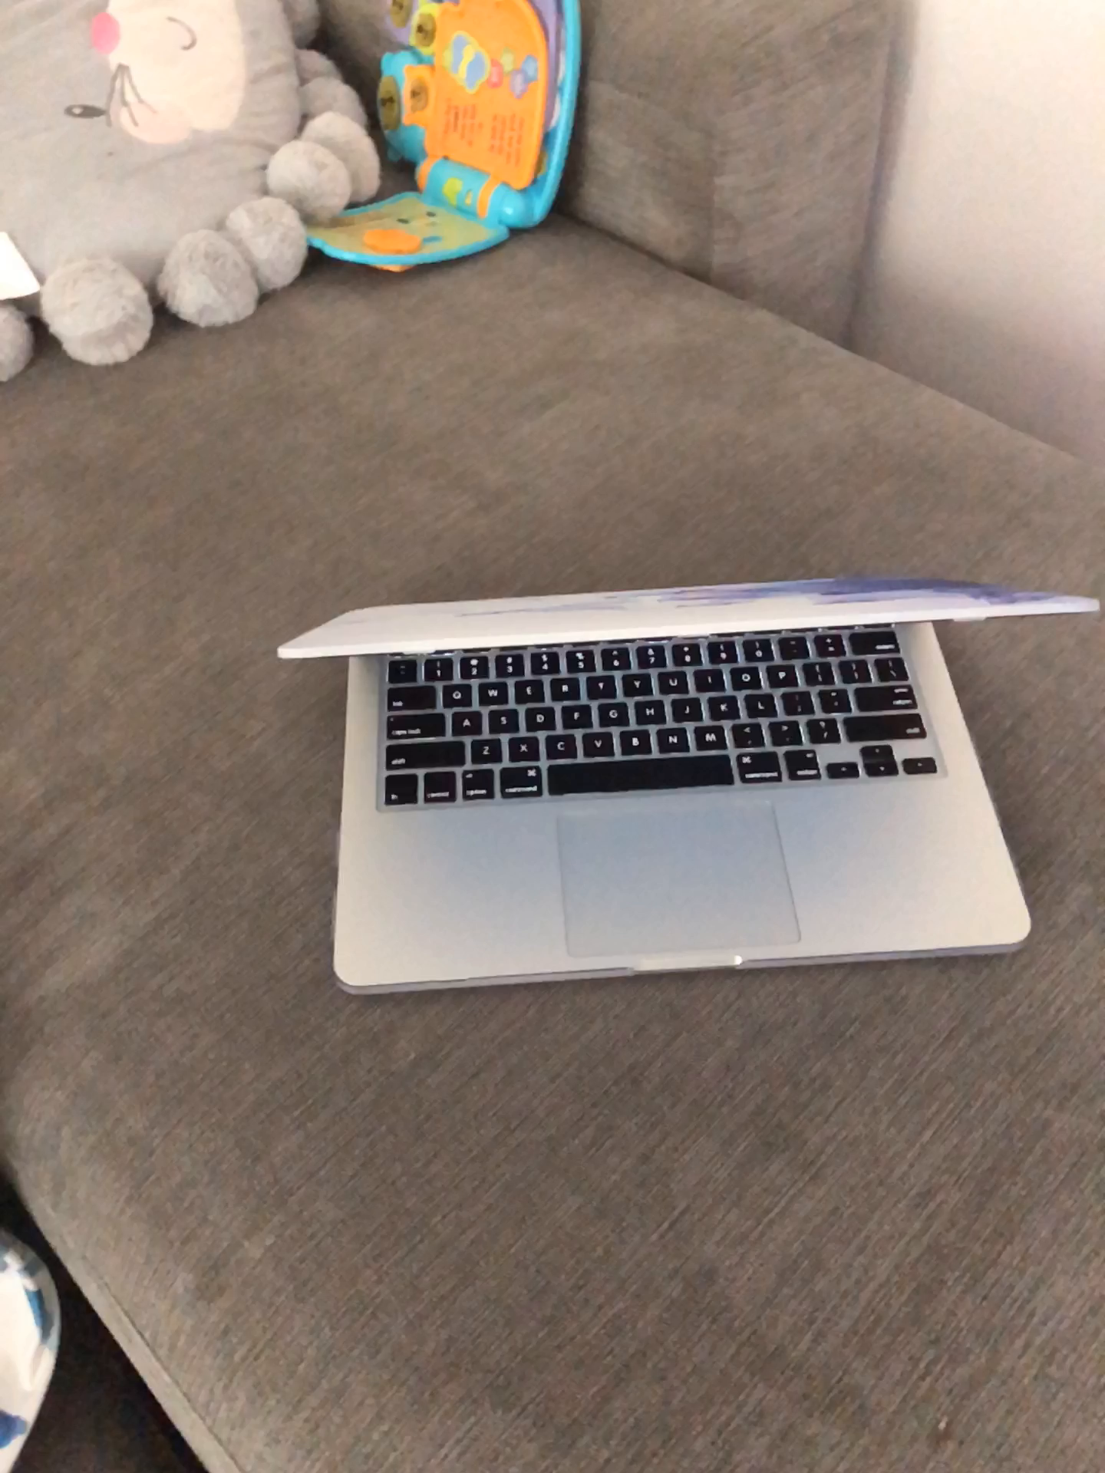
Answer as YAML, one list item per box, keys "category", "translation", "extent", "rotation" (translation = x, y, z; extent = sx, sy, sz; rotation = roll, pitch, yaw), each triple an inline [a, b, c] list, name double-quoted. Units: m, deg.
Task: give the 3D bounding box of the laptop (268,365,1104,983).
- category: "laptop"
  translation: [0.050, -0.033, 0.546]
  extent: [0.308, 0.137, 0.218]
  rotation: [-3, 53, -2]
